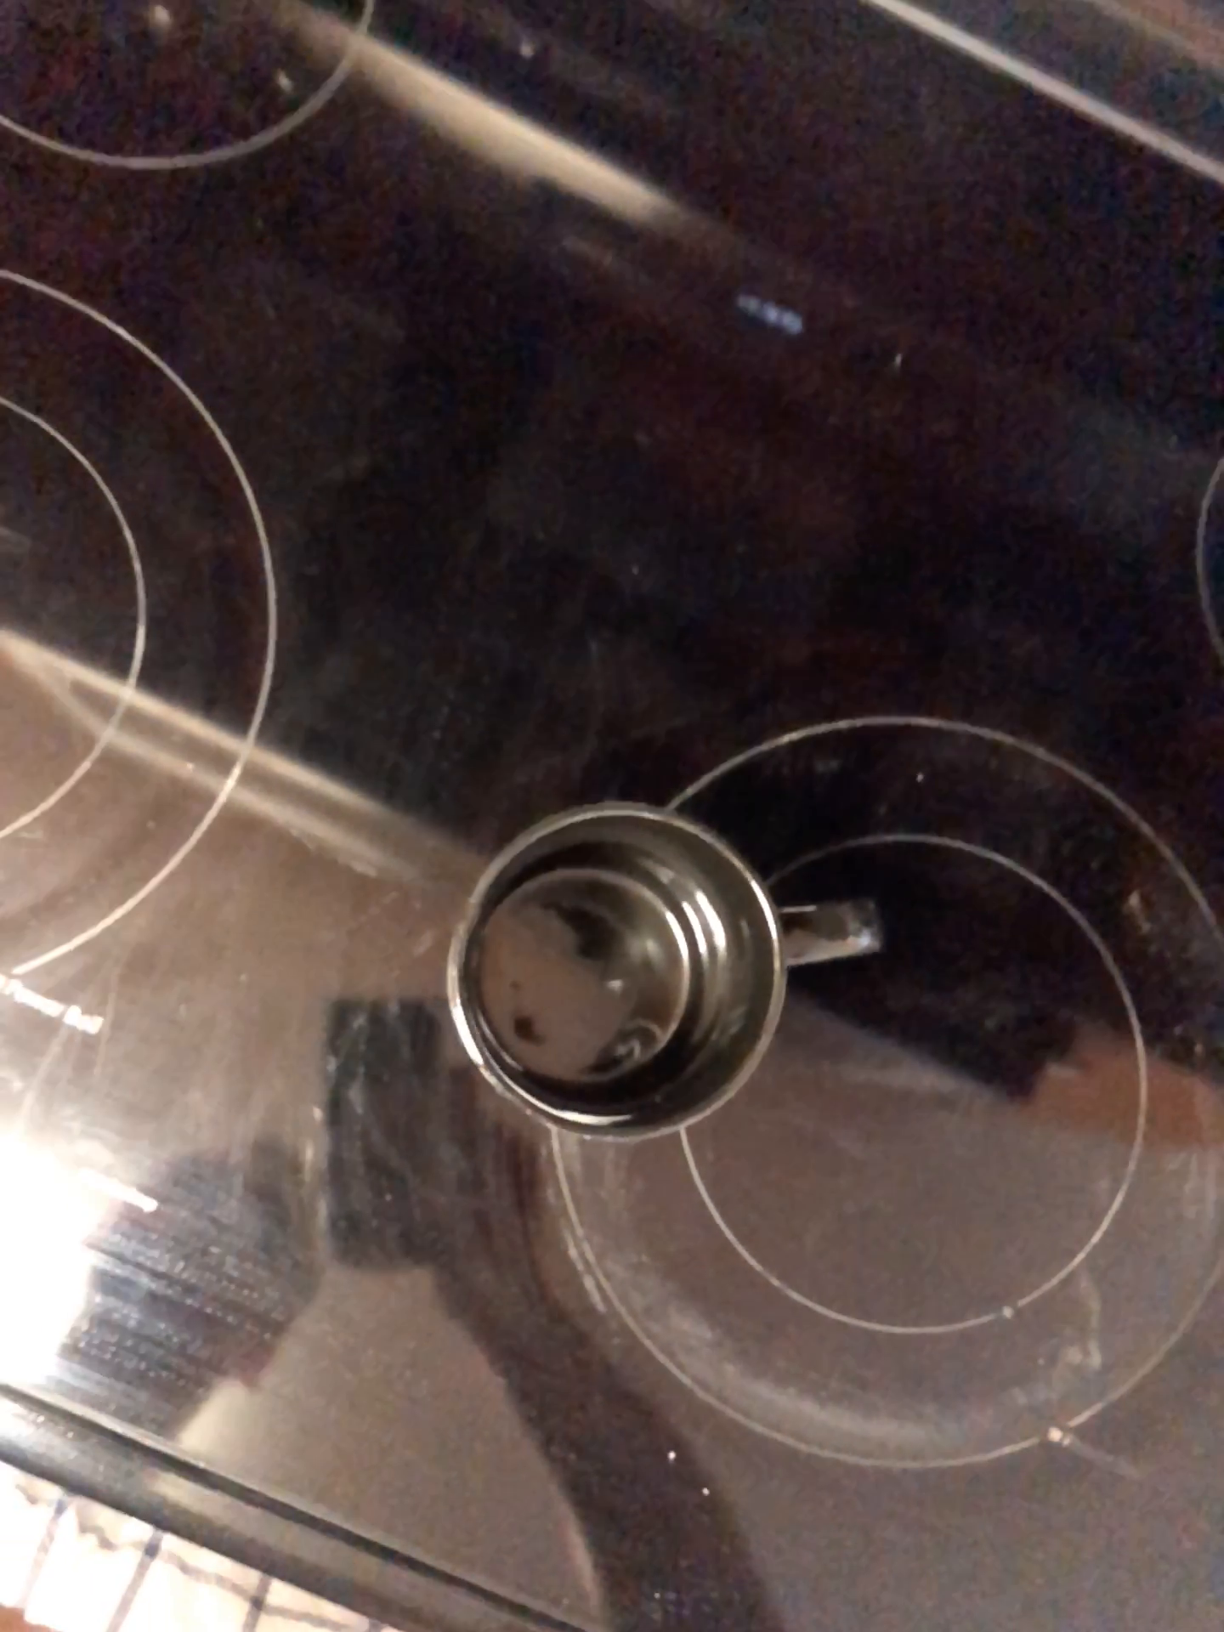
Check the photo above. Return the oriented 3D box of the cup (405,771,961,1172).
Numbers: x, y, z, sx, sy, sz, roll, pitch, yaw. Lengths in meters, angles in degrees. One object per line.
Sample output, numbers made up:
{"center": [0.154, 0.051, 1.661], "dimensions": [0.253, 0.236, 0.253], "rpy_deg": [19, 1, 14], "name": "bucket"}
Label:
{"center": [0.011, 0.041, 0.369], "dimensions": [0.130, 0.090, 0.090], "rpy_deg": [-1, 82, -9], "name": "cup"}
